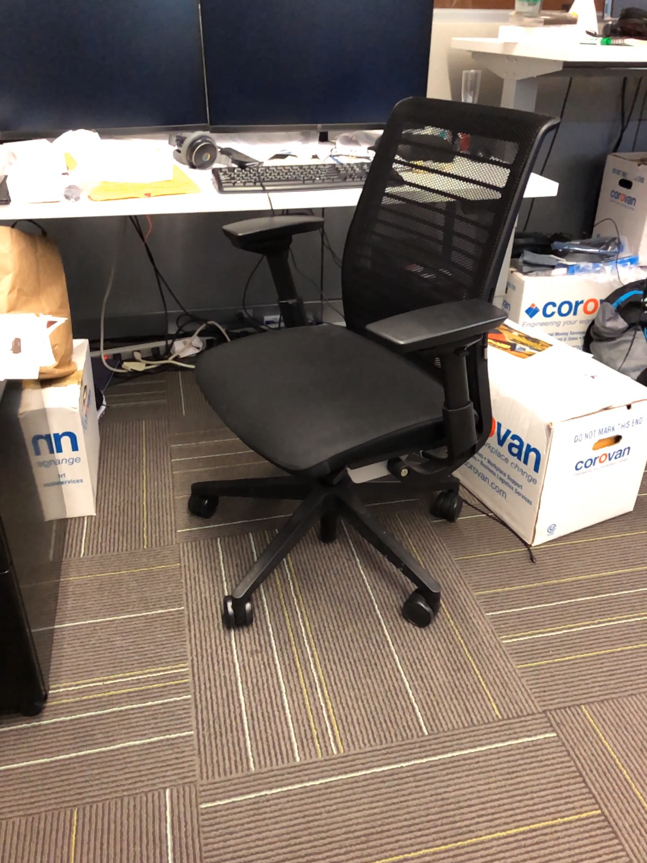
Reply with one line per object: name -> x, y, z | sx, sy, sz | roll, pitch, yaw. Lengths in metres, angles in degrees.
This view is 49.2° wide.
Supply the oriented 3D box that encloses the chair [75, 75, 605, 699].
chair -> -0.013, -0.157, 1.411 | 0.611, 0.935, 0.673 | -18, 35, -28
